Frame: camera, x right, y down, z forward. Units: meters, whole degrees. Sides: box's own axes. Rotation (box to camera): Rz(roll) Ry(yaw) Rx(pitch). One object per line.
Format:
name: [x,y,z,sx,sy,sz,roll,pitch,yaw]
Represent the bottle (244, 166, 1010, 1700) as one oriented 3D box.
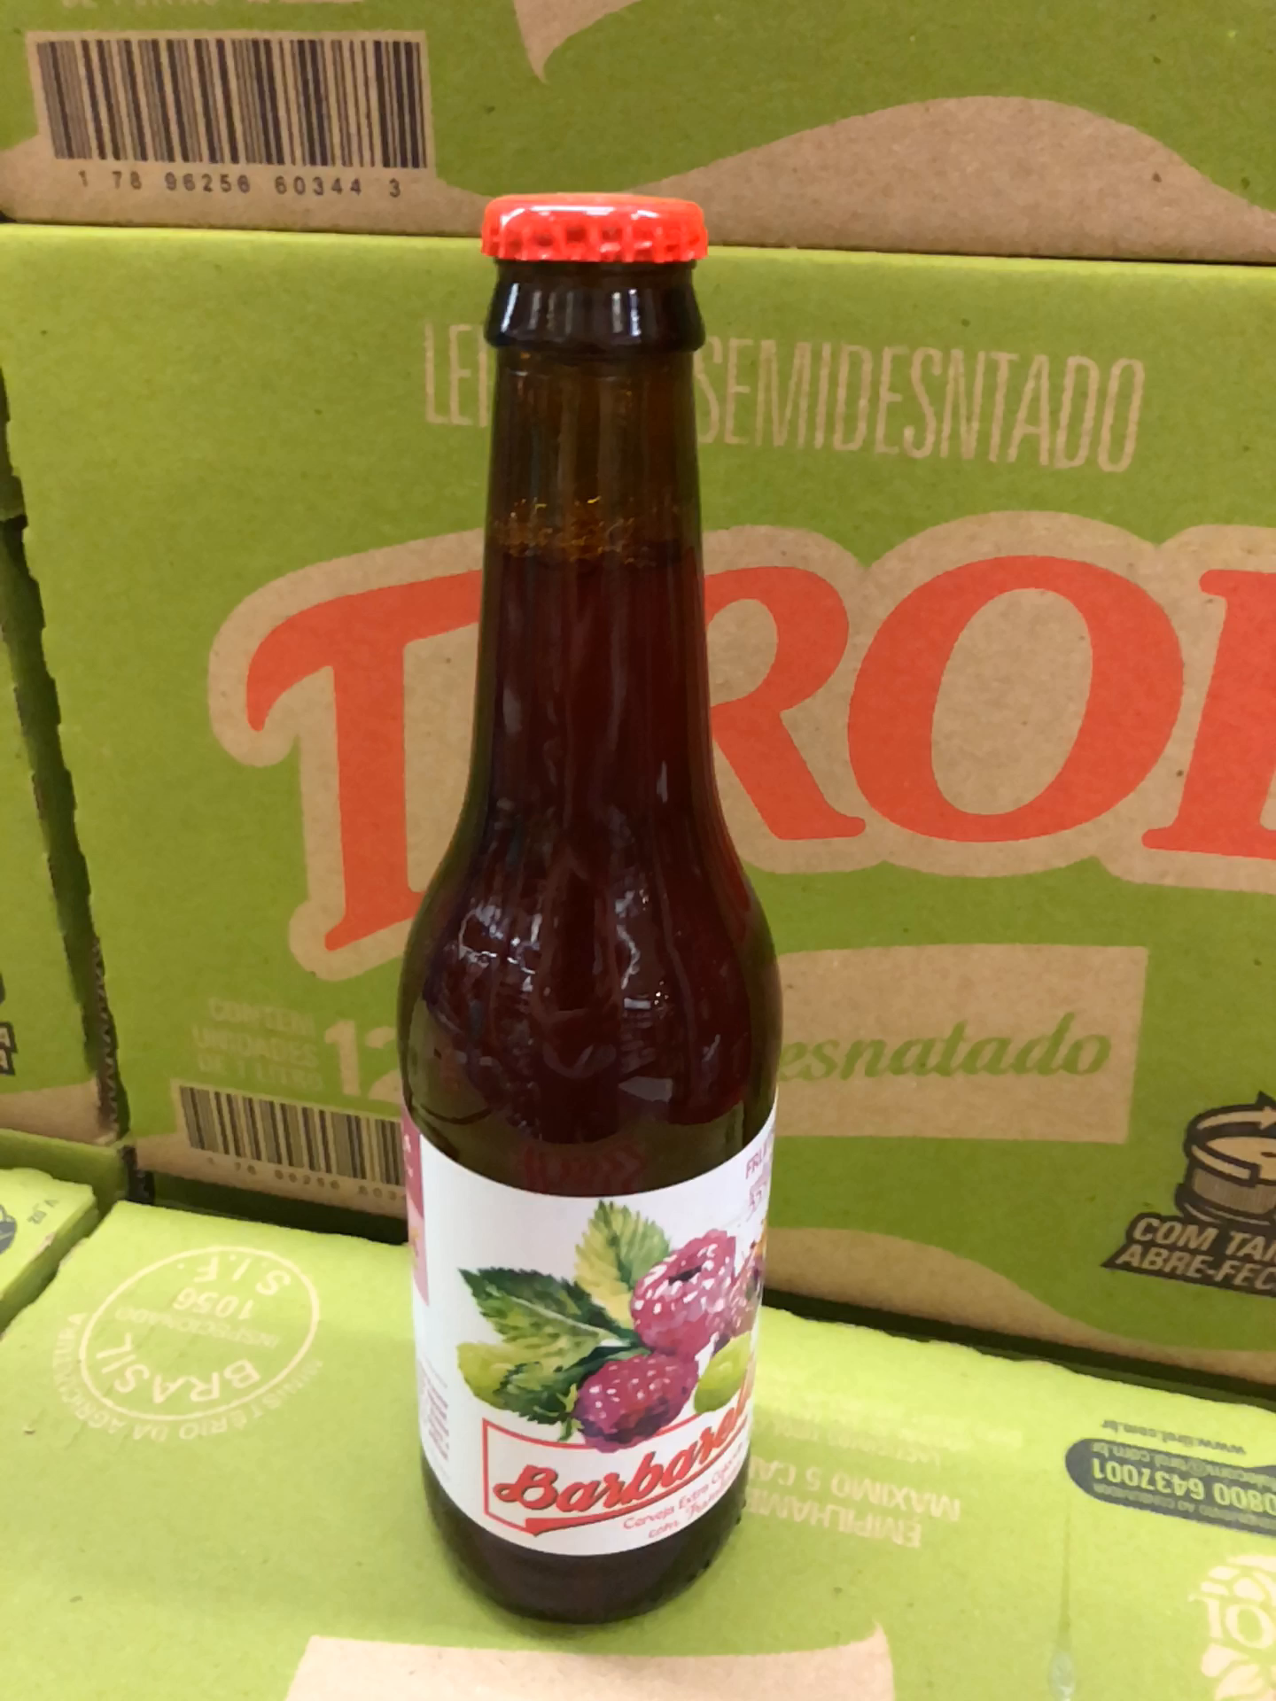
bottle: [-0.007,0.023,0.220,0.070,0.228,0.060,-14,31,-30]
